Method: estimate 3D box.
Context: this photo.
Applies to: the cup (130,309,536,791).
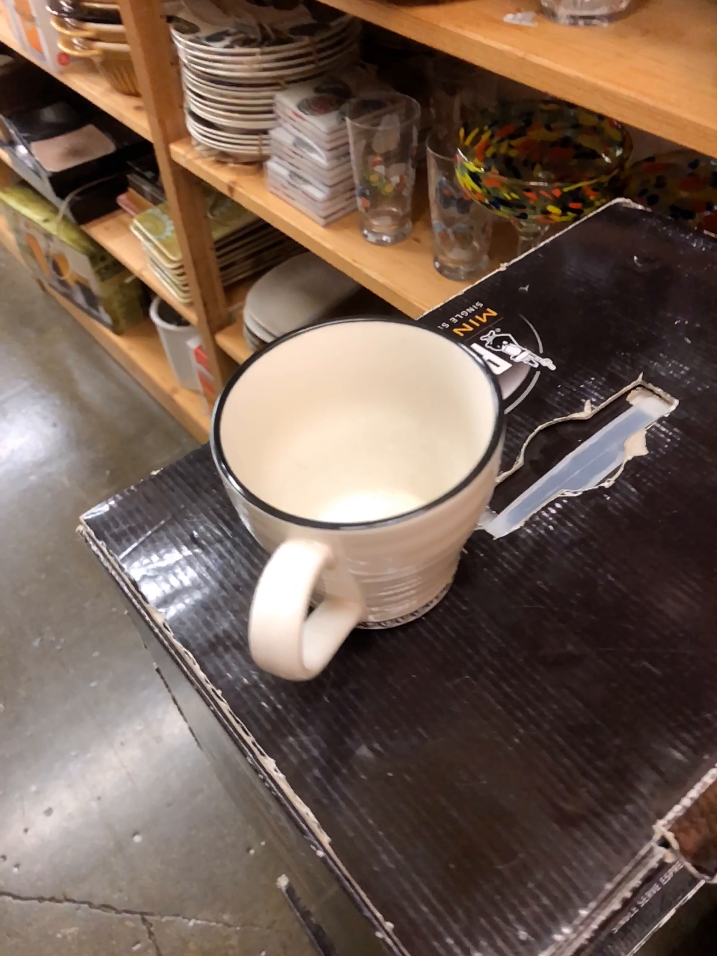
[{"bbox_3d":[0.003,0.020,0.271,0.101,0.084,0.131,5,51,8],"label":"cup"}]
